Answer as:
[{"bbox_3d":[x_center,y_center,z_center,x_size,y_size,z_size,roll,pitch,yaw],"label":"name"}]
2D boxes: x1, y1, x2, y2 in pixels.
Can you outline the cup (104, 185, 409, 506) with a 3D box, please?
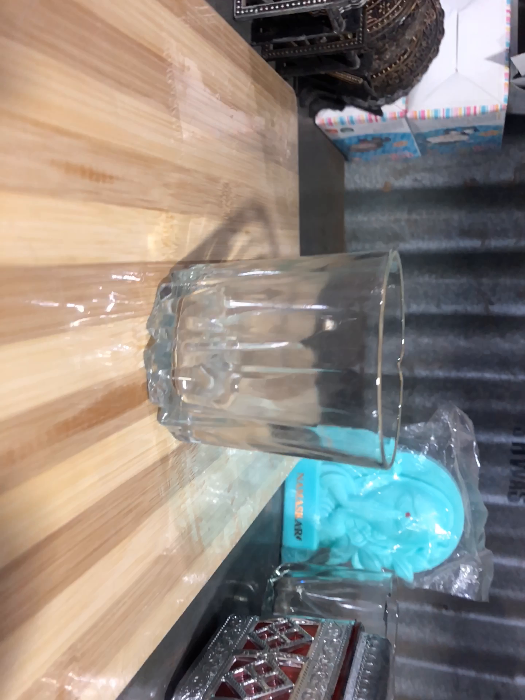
[{"bbox_3d":[0.009,0.001,0.212,0.080,0.080,0.080,2,90,-73],"label":"cup"}]
